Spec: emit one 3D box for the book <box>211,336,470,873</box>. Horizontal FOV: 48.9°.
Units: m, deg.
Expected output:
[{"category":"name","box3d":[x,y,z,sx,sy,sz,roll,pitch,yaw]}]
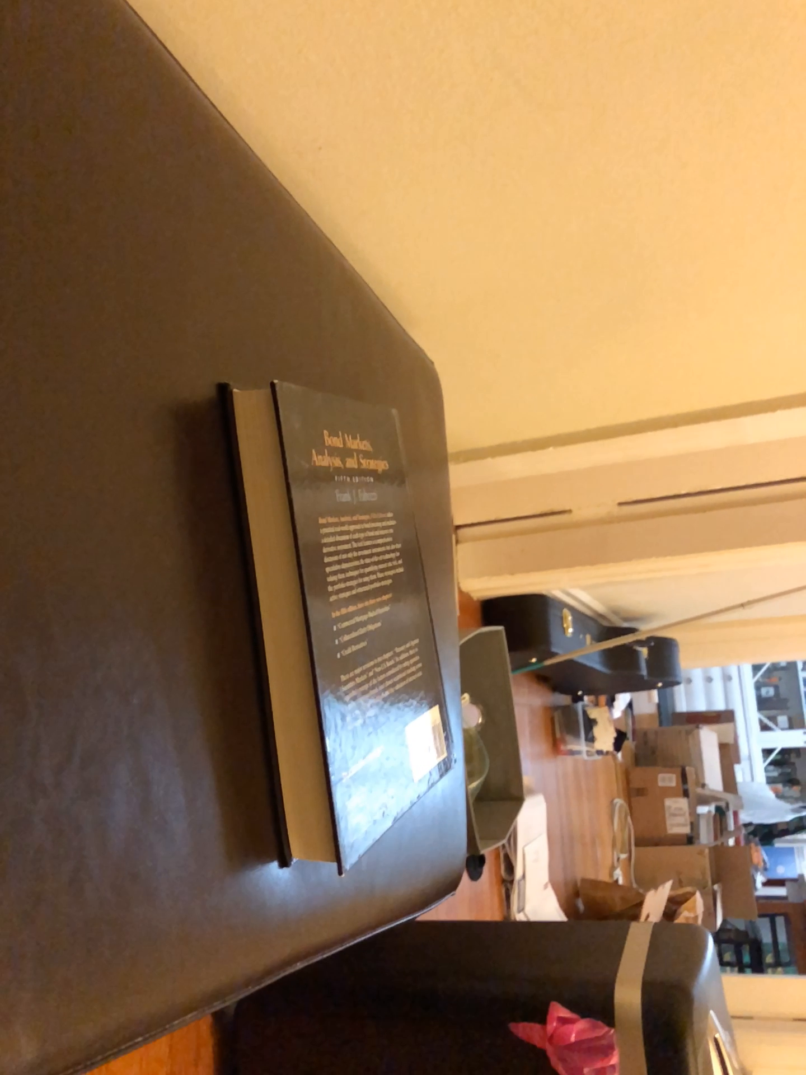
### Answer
[{"category":"book","box3d":[-0.024,0.029,0.526,0.201,0.040,0.260,-9,91,-70]}]
